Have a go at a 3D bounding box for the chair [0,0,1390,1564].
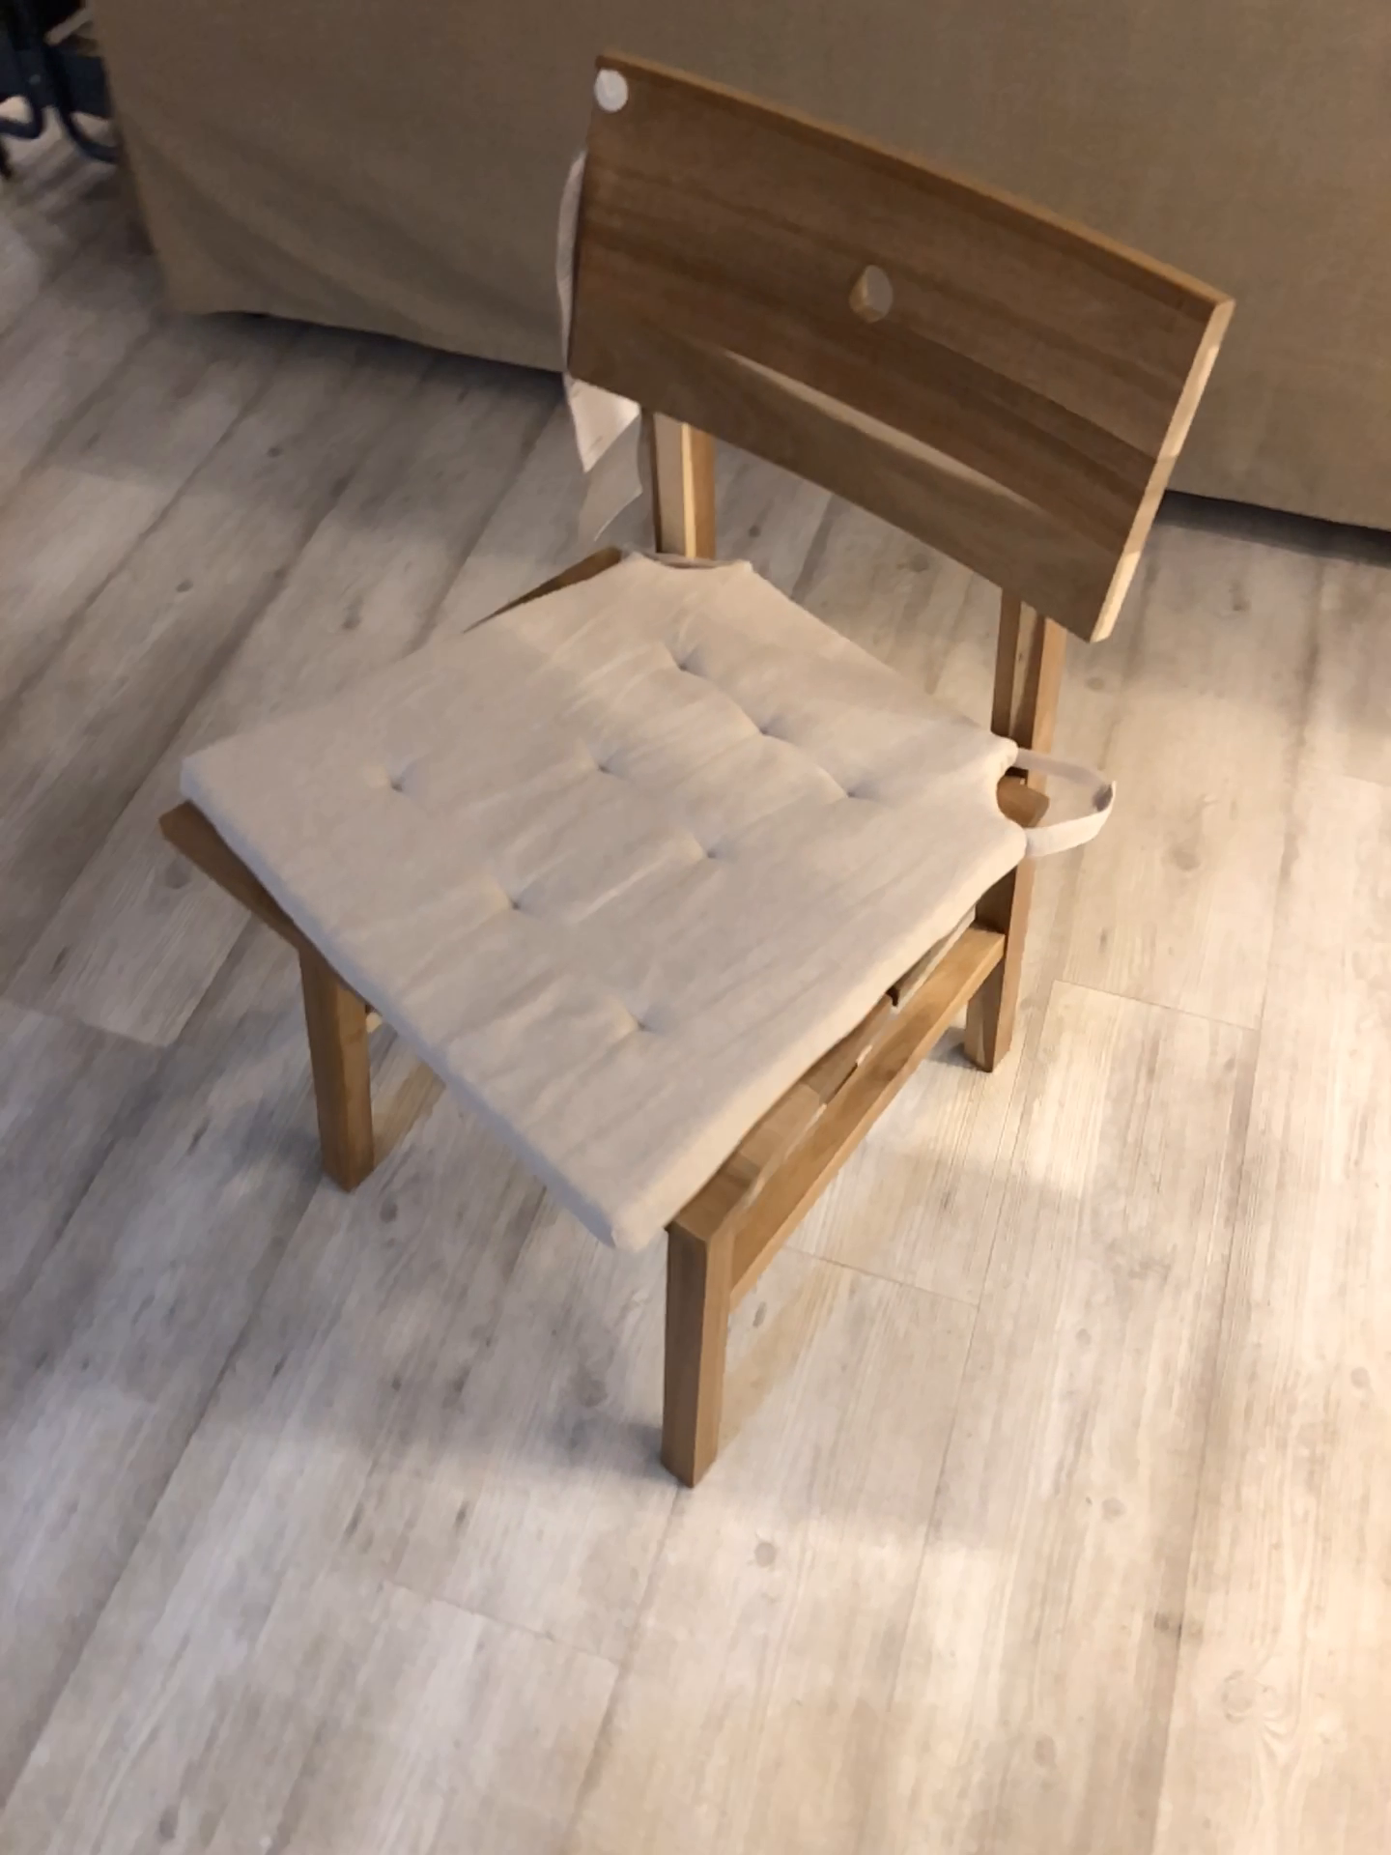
[{"bbox_3d":[-0.026,-0.071,0.919,0.501,0.599,0.531,34,62,22],"label":"chair"}]
